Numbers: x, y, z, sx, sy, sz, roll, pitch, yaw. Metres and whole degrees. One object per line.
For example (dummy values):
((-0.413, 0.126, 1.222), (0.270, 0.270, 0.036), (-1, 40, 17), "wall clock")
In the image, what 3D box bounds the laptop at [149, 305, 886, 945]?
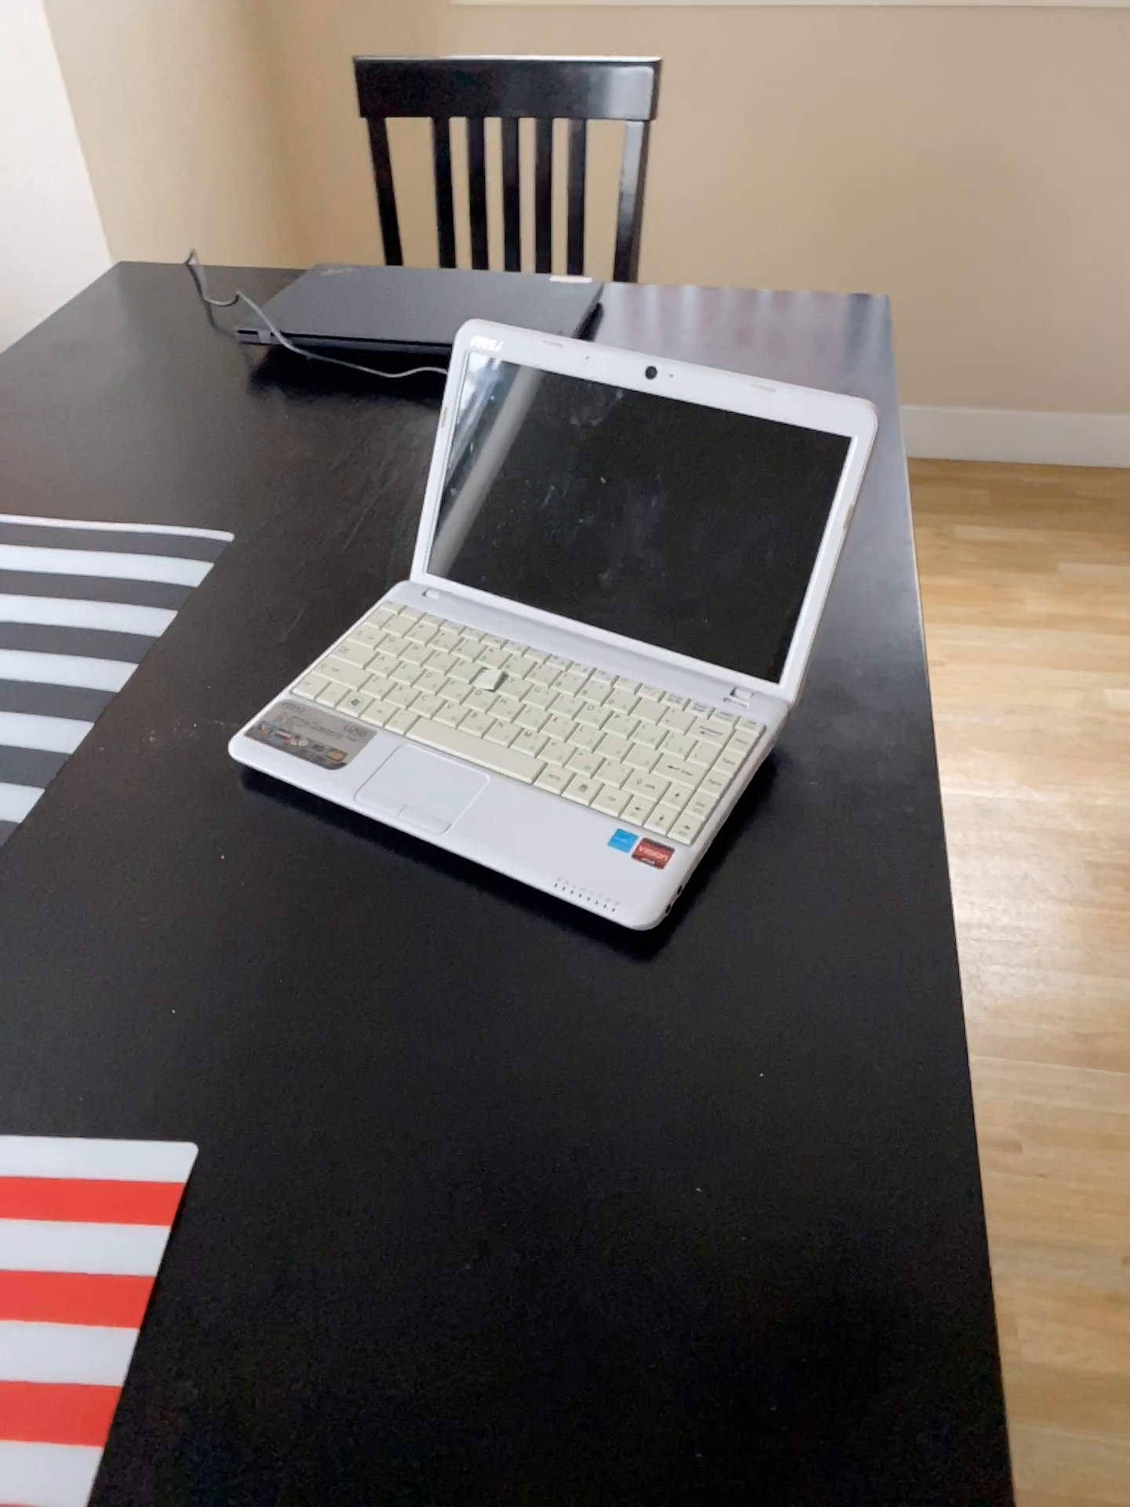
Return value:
((-0.014, -0.103, 0.683), (0.295, 0.153, 0.302), (20, 49, 23), "laptop")
